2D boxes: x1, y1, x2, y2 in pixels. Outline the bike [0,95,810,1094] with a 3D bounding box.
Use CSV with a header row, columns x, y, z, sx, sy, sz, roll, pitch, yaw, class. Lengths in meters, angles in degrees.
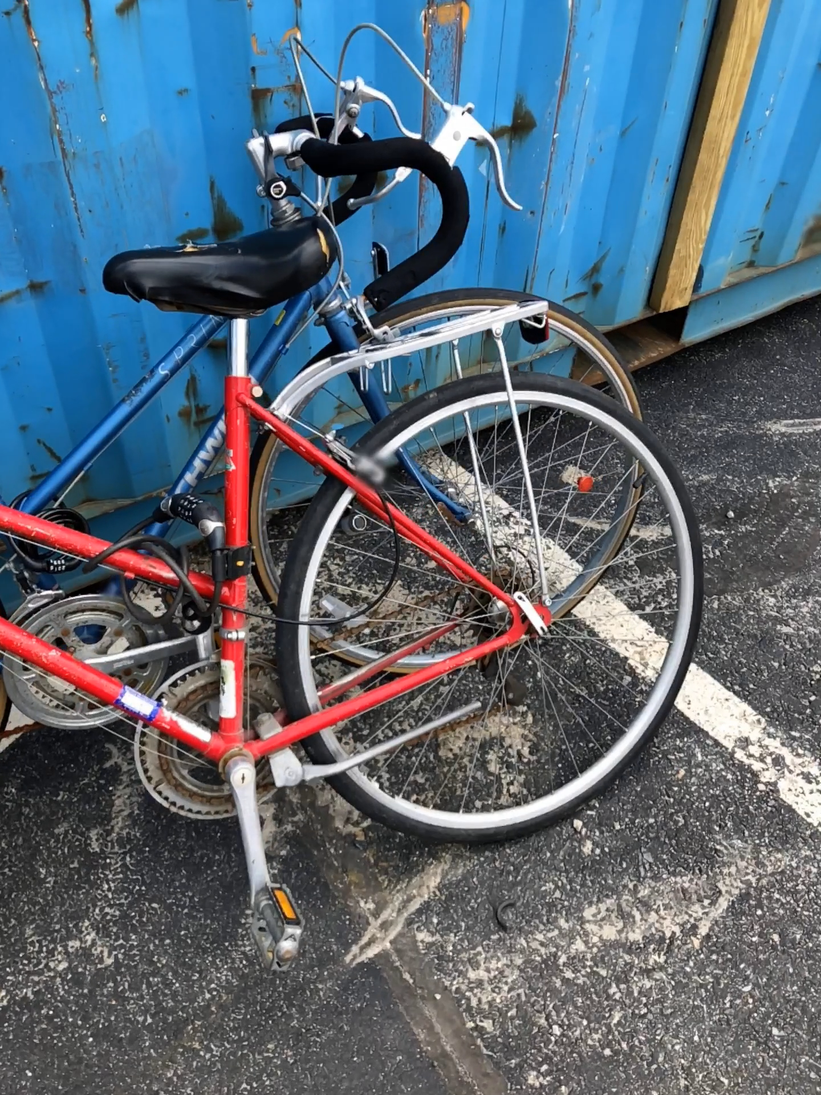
x,y,z,sx,sy,sz,roll,pitch,yaw,class
-0.359,0.009,1.086,1.643,0.824,0.485,-18,47,-24,bike
